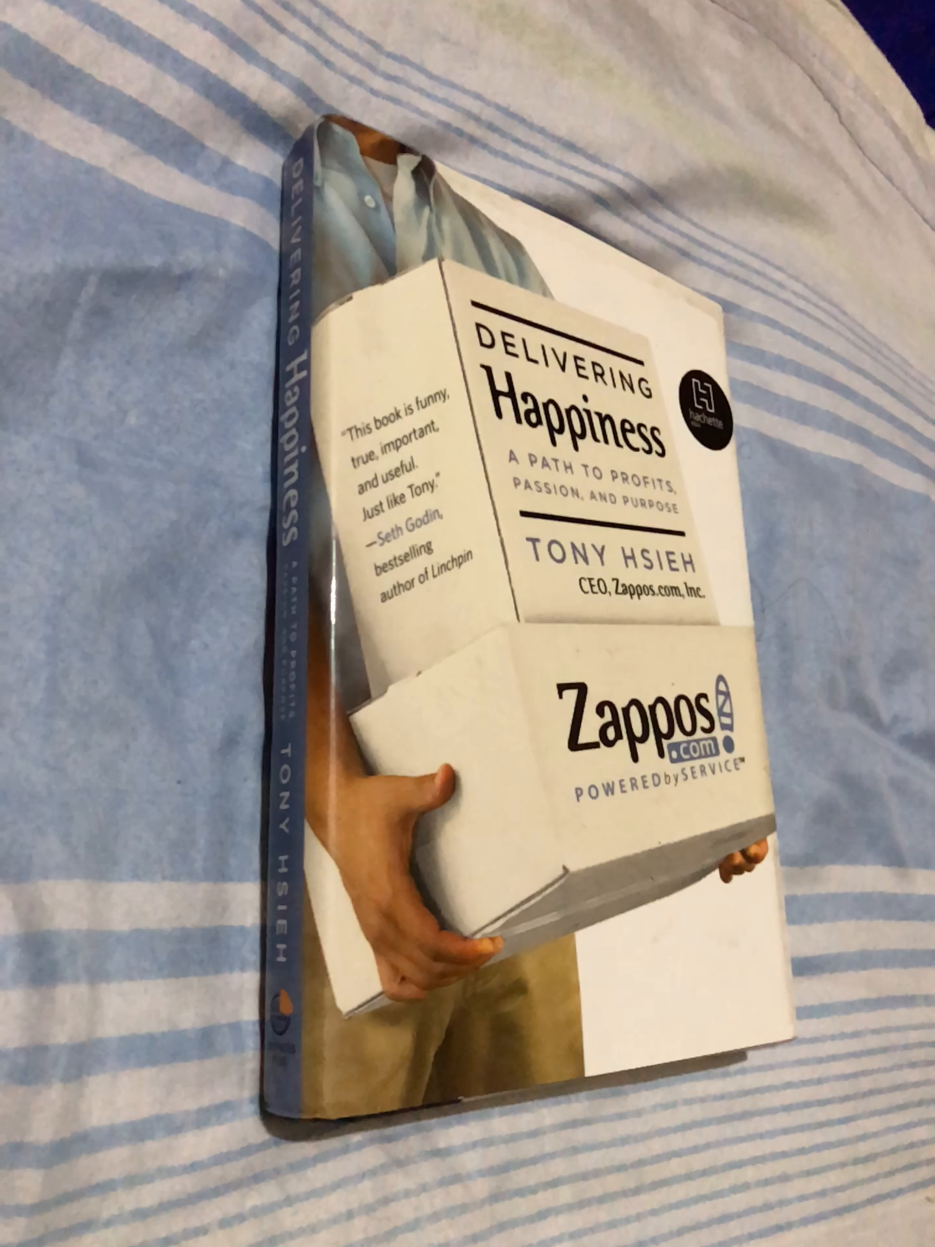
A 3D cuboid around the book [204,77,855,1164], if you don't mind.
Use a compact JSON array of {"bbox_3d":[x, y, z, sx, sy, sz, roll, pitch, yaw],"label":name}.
[{"bbox_3d":[0.021,0.000,0.291,0.171,0.050,0.240,10,70,-37],"label":"book"}]
